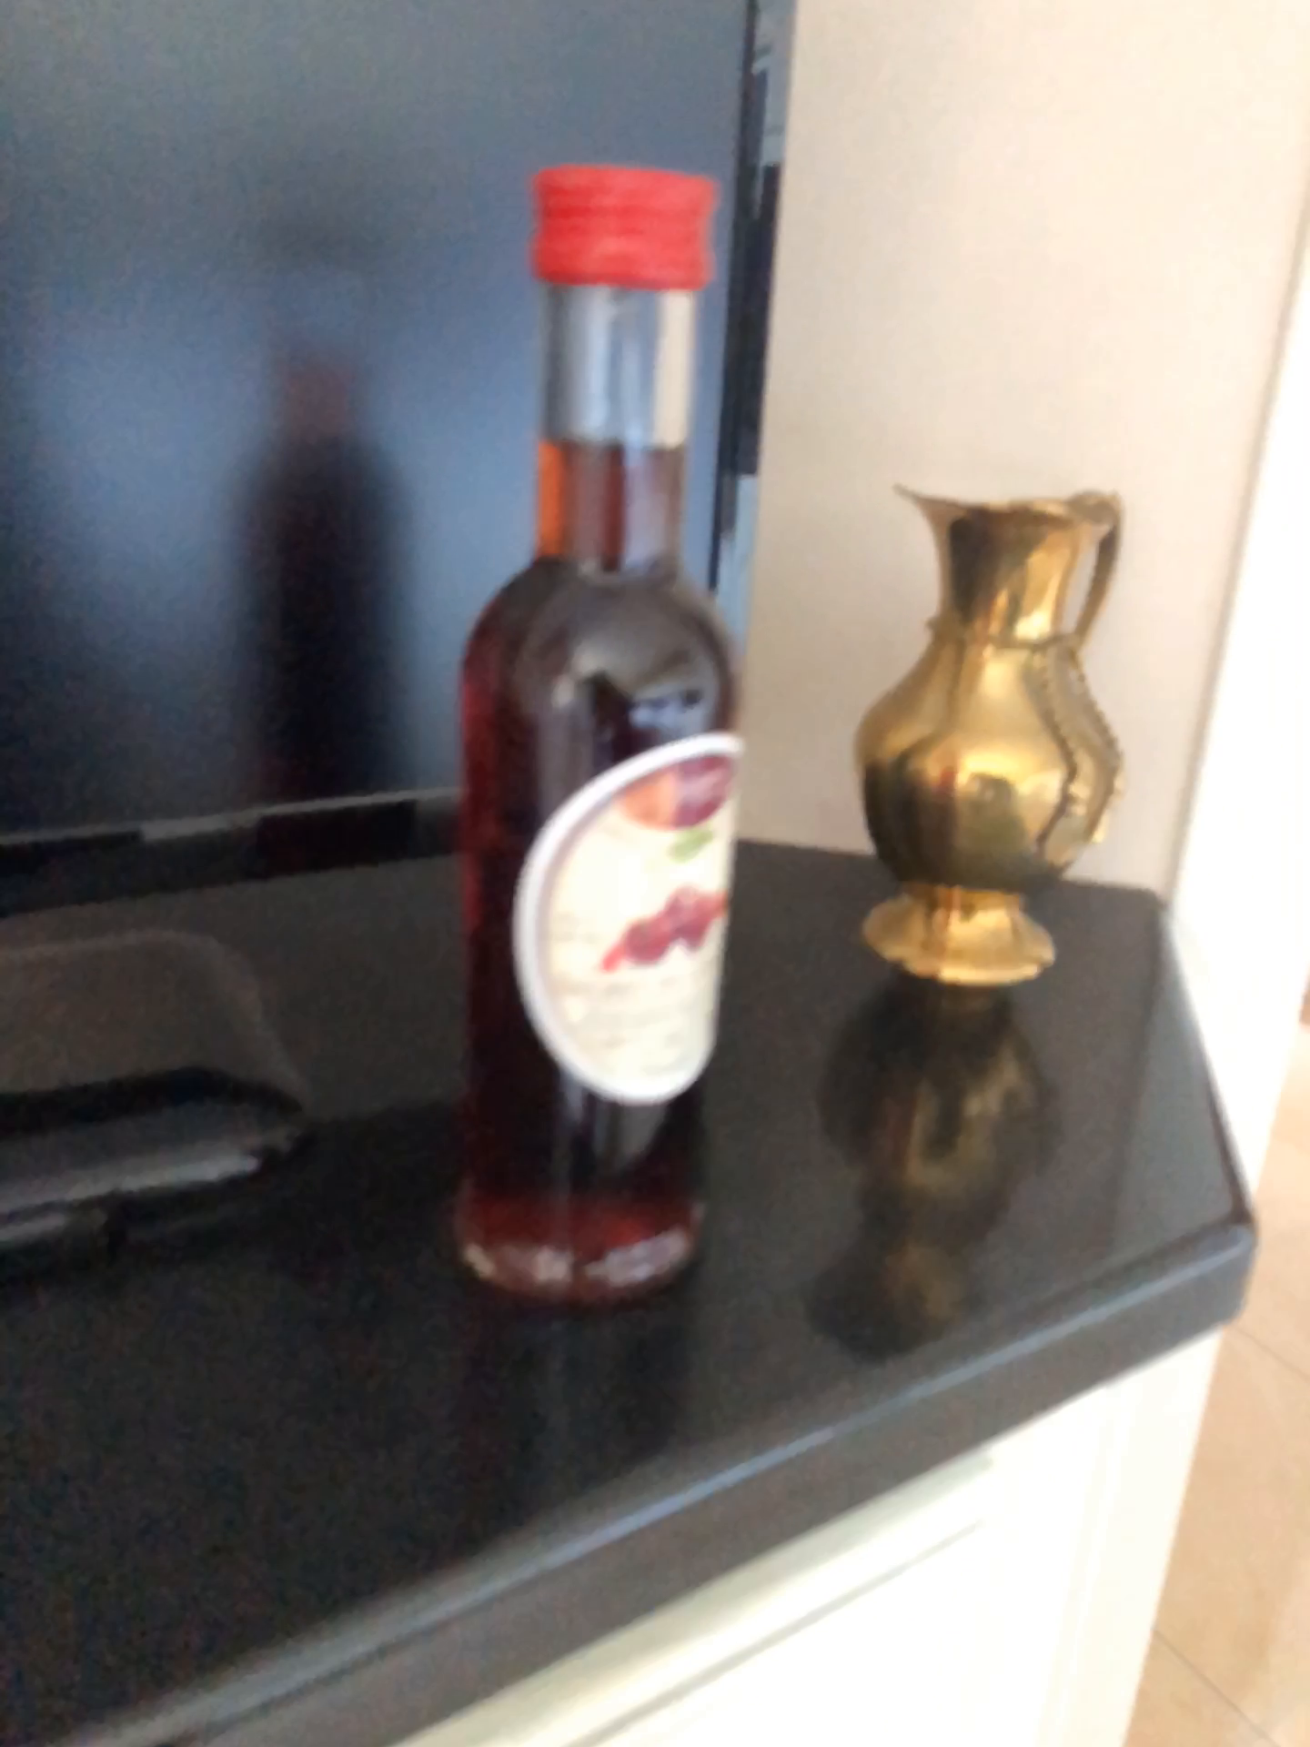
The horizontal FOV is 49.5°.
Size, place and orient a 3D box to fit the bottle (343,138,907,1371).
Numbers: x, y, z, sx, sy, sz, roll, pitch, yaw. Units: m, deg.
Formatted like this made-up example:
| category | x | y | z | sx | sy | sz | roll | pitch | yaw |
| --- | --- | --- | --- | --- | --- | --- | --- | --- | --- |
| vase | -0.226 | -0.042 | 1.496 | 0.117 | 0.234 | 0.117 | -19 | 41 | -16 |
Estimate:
| category | x | y | z | sx | sy | sz | roll | pitch | yaw |
| --- | --- | --- | --- | --- | --- | --- | --- | --- | --- |
| bottle | -0.012 | -0.021 | 0.288 | 0.070 | 0.219 | 0.070 | 3 | 22 | -1 |
